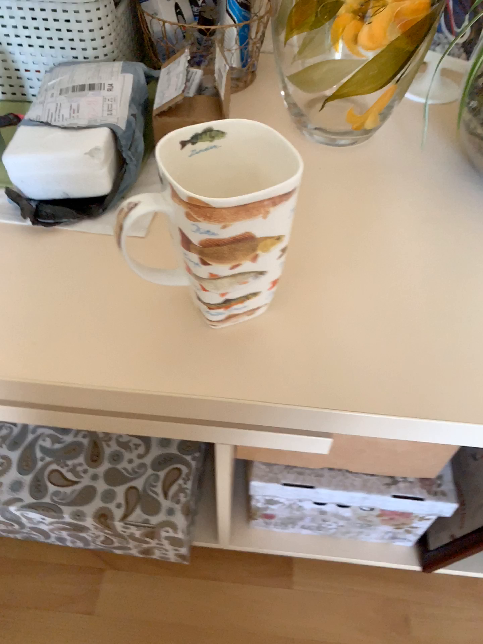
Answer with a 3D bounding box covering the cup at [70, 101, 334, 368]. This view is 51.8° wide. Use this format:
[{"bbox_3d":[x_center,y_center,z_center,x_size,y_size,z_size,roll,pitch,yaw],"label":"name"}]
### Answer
[{"bbox_3d":[-0.029,-0.064,0.364,0.140,0.129,0.101,-18,52,-17],"label":"cup"}]
